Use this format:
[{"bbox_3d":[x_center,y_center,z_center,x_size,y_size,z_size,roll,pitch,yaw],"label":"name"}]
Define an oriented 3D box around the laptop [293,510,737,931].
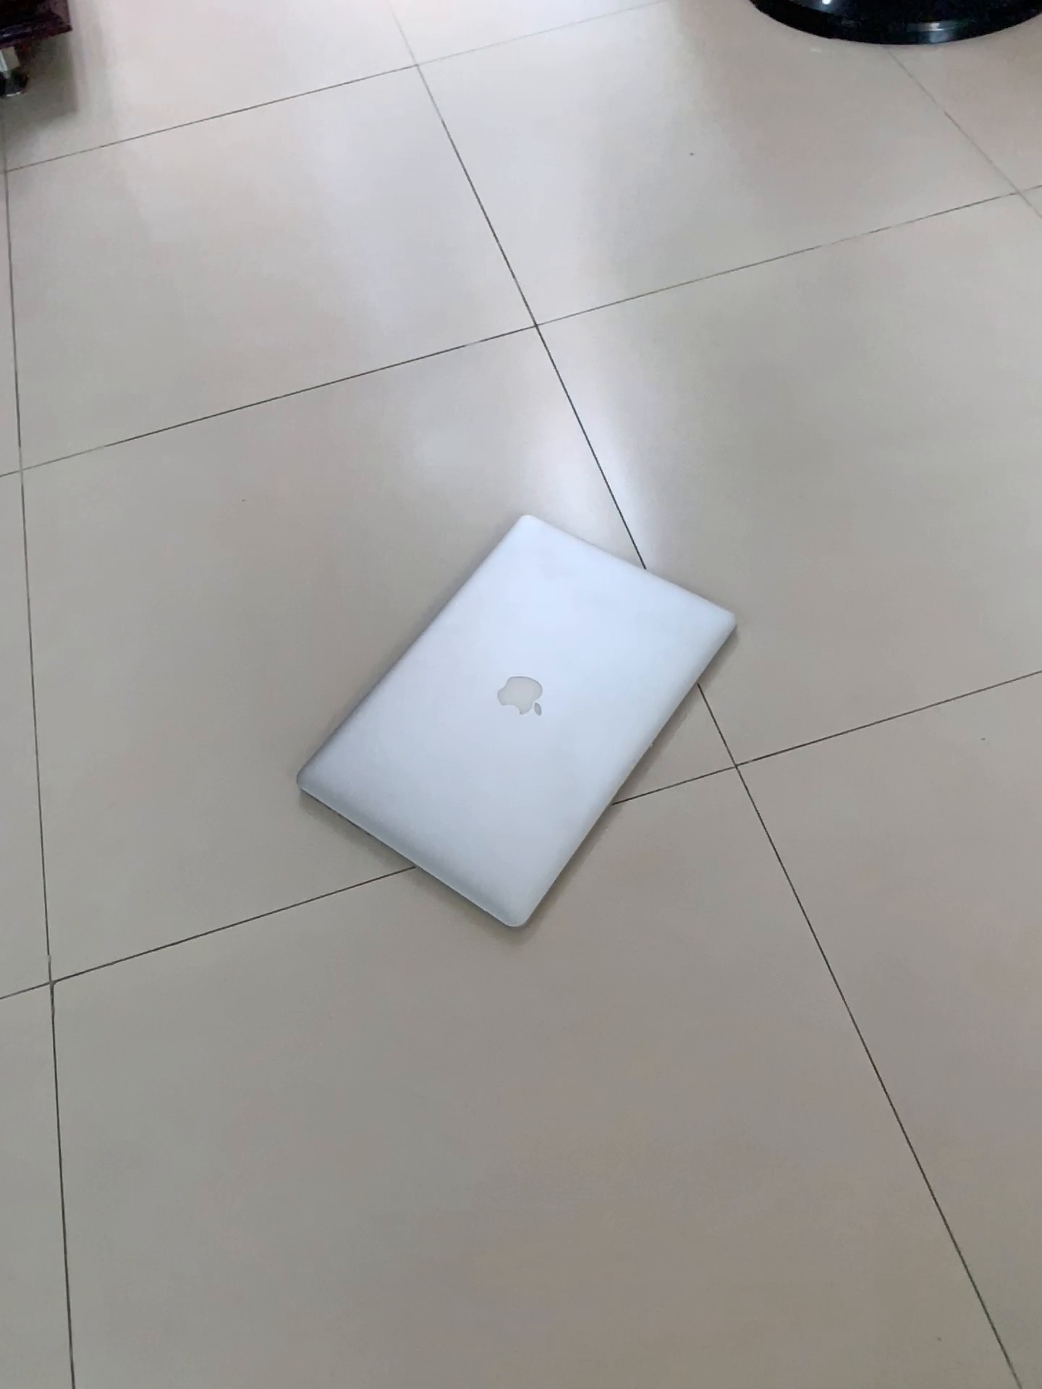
[{"bbox_3d":[0.000,0.002,0.953,0.239,0.001,0.356,29,67,21],"label":"laptop"}]
